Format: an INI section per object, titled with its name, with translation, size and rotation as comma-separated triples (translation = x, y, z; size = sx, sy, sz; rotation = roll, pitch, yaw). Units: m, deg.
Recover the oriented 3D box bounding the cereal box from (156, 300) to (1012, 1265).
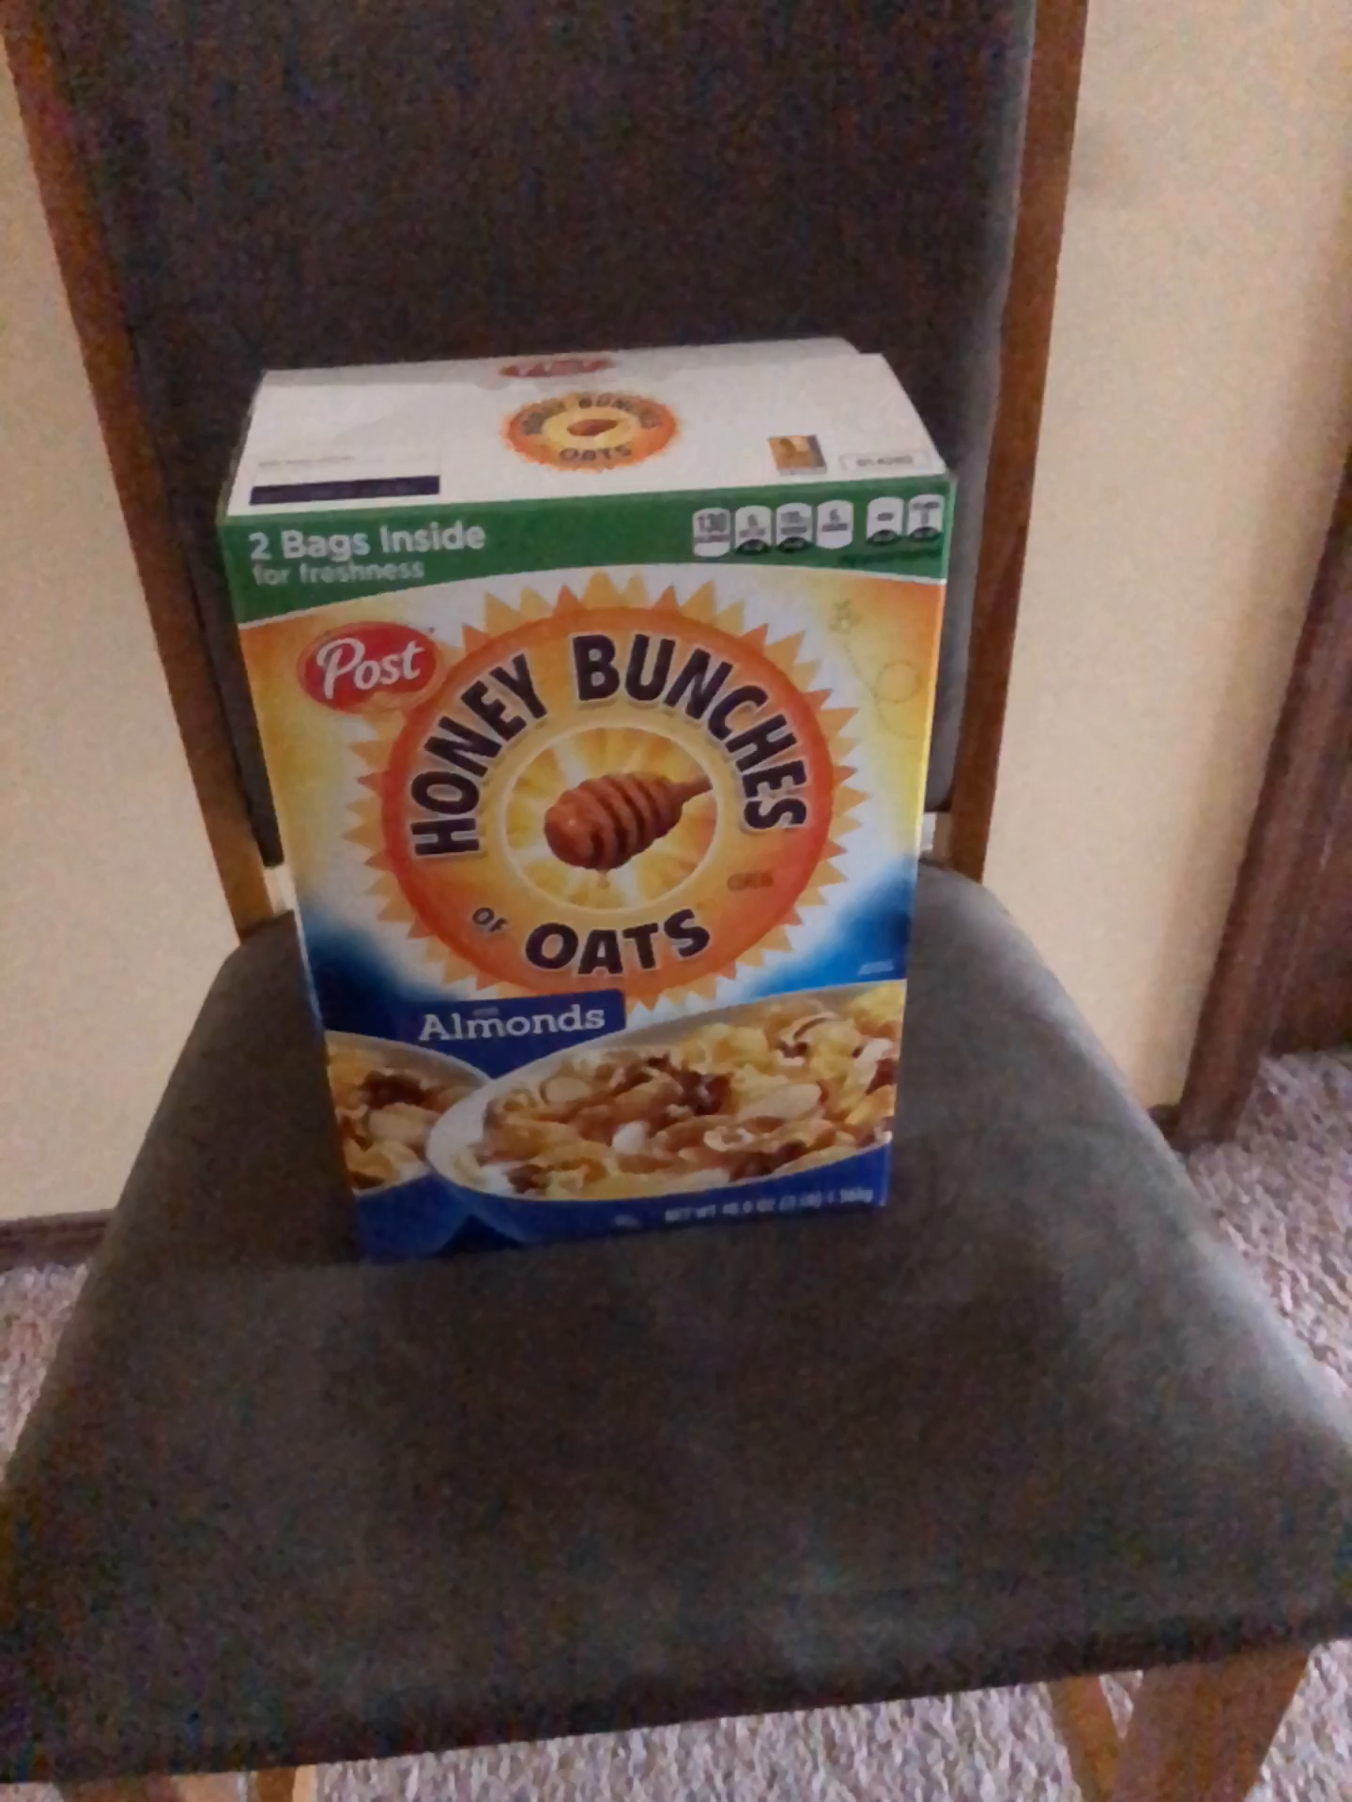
[cereal box]
translation = -0.025, -0.040, 0.528
size = 0.220, 0.279, 0.160
rotation = -5, 34, -4
